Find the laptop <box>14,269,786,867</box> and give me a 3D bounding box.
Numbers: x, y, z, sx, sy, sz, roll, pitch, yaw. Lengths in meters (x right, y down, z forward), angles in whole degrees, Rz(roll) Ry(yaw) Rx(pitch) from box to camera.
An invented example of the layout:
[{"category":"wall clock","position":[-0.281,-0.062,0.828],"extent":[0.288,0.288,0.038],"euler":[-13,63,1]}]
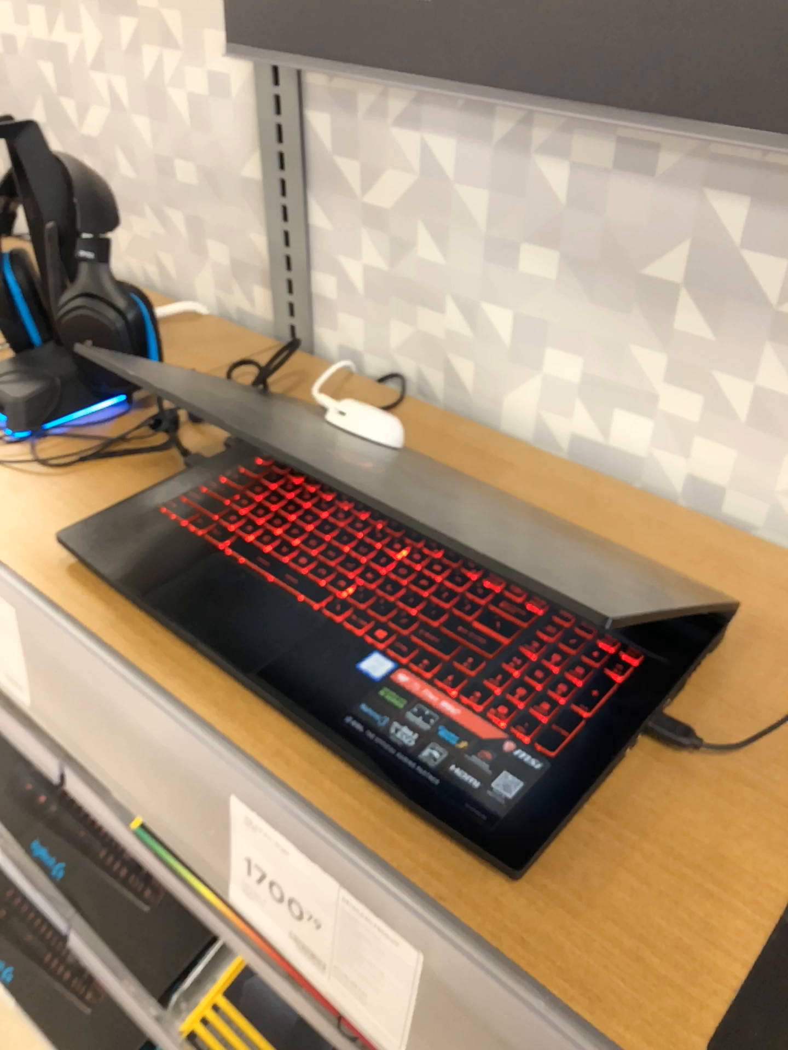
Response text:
[{"category":"laptop","position":[-0.009,-0.022,0.557],"extent":[0.394,0.133,0.248],"euler":[27,43,32]}]
